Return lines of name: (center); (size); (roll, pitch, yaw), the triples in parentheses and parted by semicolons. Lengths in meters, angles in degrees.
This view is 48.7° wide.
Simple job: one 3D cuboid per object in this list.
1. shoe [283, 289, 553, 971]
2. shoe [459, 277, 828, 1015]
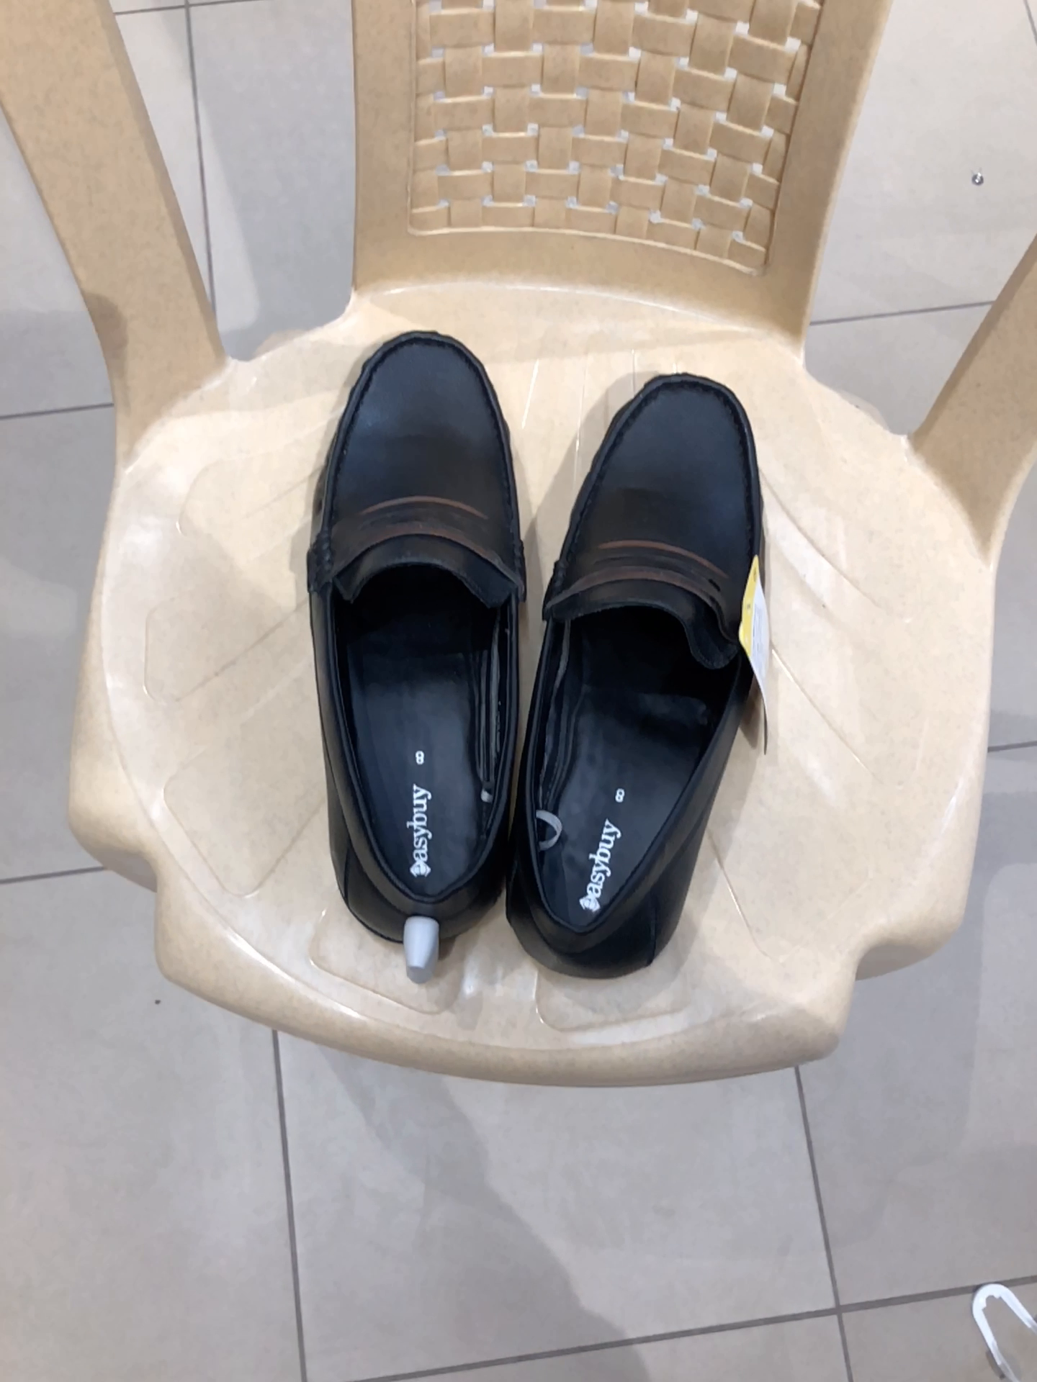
shoe: (-0.041, -0.024, 0.496); (0.100, 0.088, 0.275); (-2, 79, -1)
shoe: (0.053, -0.019, 0.490); (0.100, 0.088, 0.283); (10, 79, 2)
